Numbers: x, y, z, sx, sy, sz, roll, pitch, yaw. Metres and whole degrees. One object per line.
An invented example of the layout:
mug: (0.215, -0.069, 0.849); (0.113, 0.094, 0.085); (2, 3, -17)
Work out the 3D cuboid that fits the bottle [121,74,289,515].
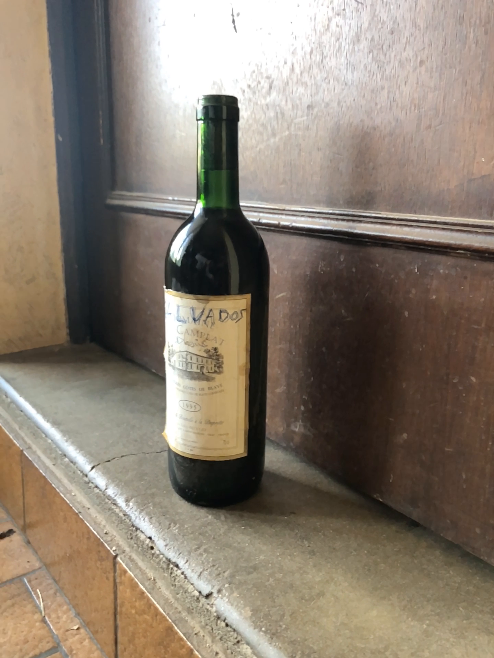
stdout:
bottle: (-0.027, -0.022, 0.391); (0.080, 0.279, 0.080); (1, 15, 0)
